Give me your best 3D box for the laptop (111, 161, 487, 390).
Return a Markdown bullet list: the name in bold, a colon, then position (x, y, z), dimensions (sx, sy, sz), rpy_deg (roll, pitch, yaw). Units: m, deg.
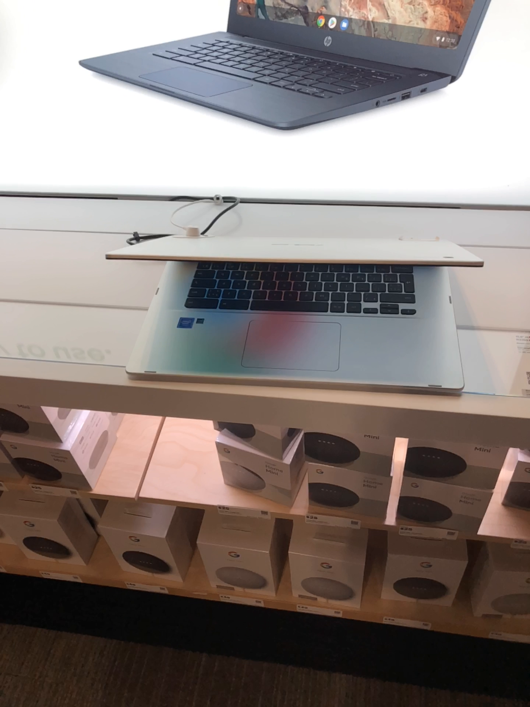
- **laptop**: position (0.037, -0.097, 0.634), dimensions (0.341, 0.113, 0.222), rpy_deg (3, 48, 10)
